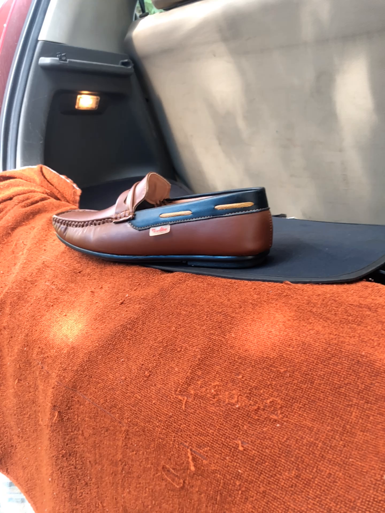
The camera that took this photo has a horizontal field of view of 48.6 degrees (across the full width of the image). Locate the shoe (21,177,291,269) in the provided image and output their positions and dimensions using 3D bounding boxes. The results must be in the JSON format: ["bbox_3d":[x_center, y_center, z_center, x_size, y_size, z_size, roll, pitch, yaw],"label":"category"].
[{"bbox_3d":[-0.041,-0.039,0.483,0.280,0.070,0.111,1,16,23],"label":"shoe"}]
